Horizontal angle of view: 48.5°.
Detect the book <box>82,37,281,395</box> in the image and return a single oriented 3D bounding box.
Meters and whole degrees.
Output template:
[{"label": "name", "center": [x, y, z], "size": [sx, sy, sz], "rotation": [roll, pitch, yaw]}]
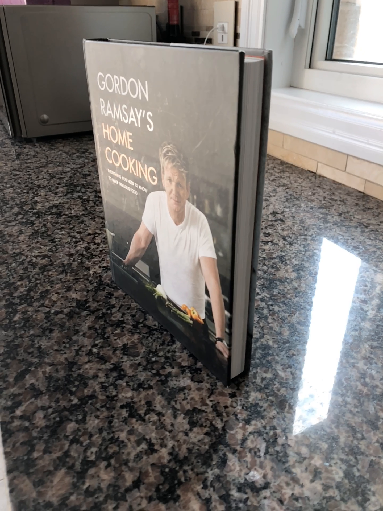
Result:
[{"label": "book", "center": [-0.023, -0.044, 0.377], "size": [0.028, 0.261, 0.217], "rotation": [-19, 34, -31]}]
